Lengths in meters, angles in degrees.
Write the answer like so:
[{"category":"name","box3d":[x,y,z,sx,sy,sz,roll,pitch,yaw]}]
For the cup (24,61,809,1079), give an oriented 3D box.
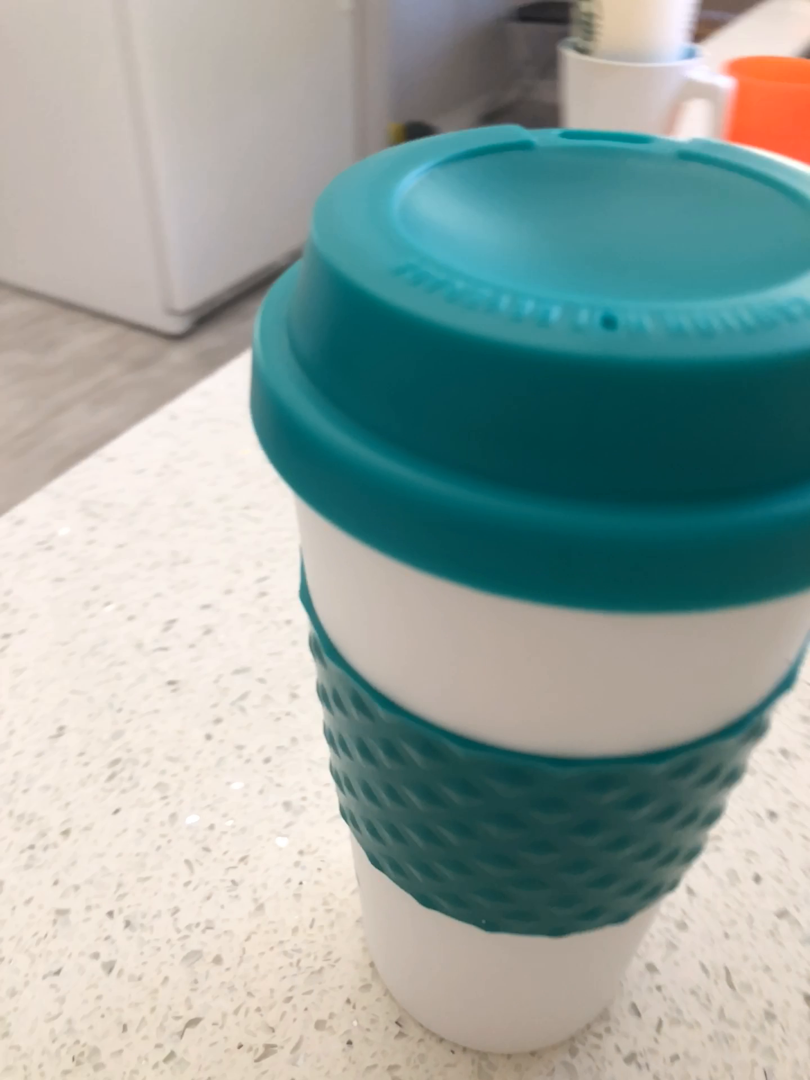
[{"category":"cup","box3d":[0.023,0.021,0.168,0.100,0.169,0.100,0,39,0]}]
